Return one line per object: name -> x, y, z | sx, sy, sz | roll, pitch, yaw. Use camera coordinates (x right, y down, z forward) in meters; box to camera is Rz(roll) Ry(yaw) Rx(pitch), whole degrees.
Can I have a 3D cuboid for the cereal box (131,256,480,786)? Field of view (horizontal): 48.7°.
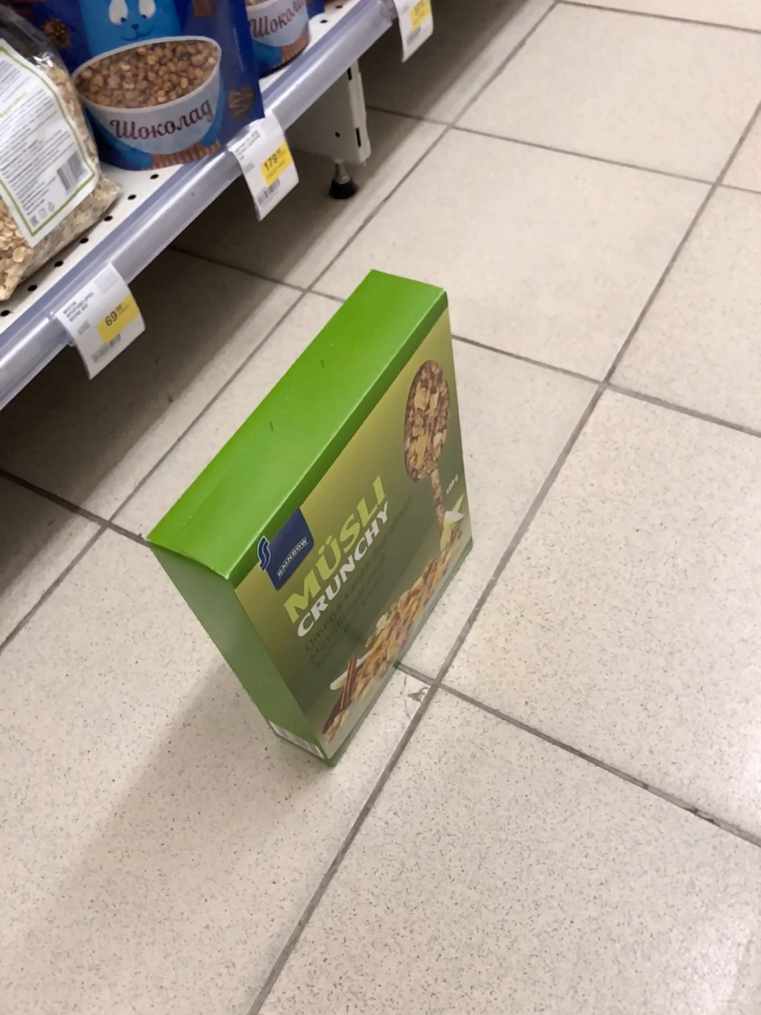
cereal box -> -0.016, 0.022, 0.487 | 0.050, 0.249, 0.201 | 22, 61, 23
